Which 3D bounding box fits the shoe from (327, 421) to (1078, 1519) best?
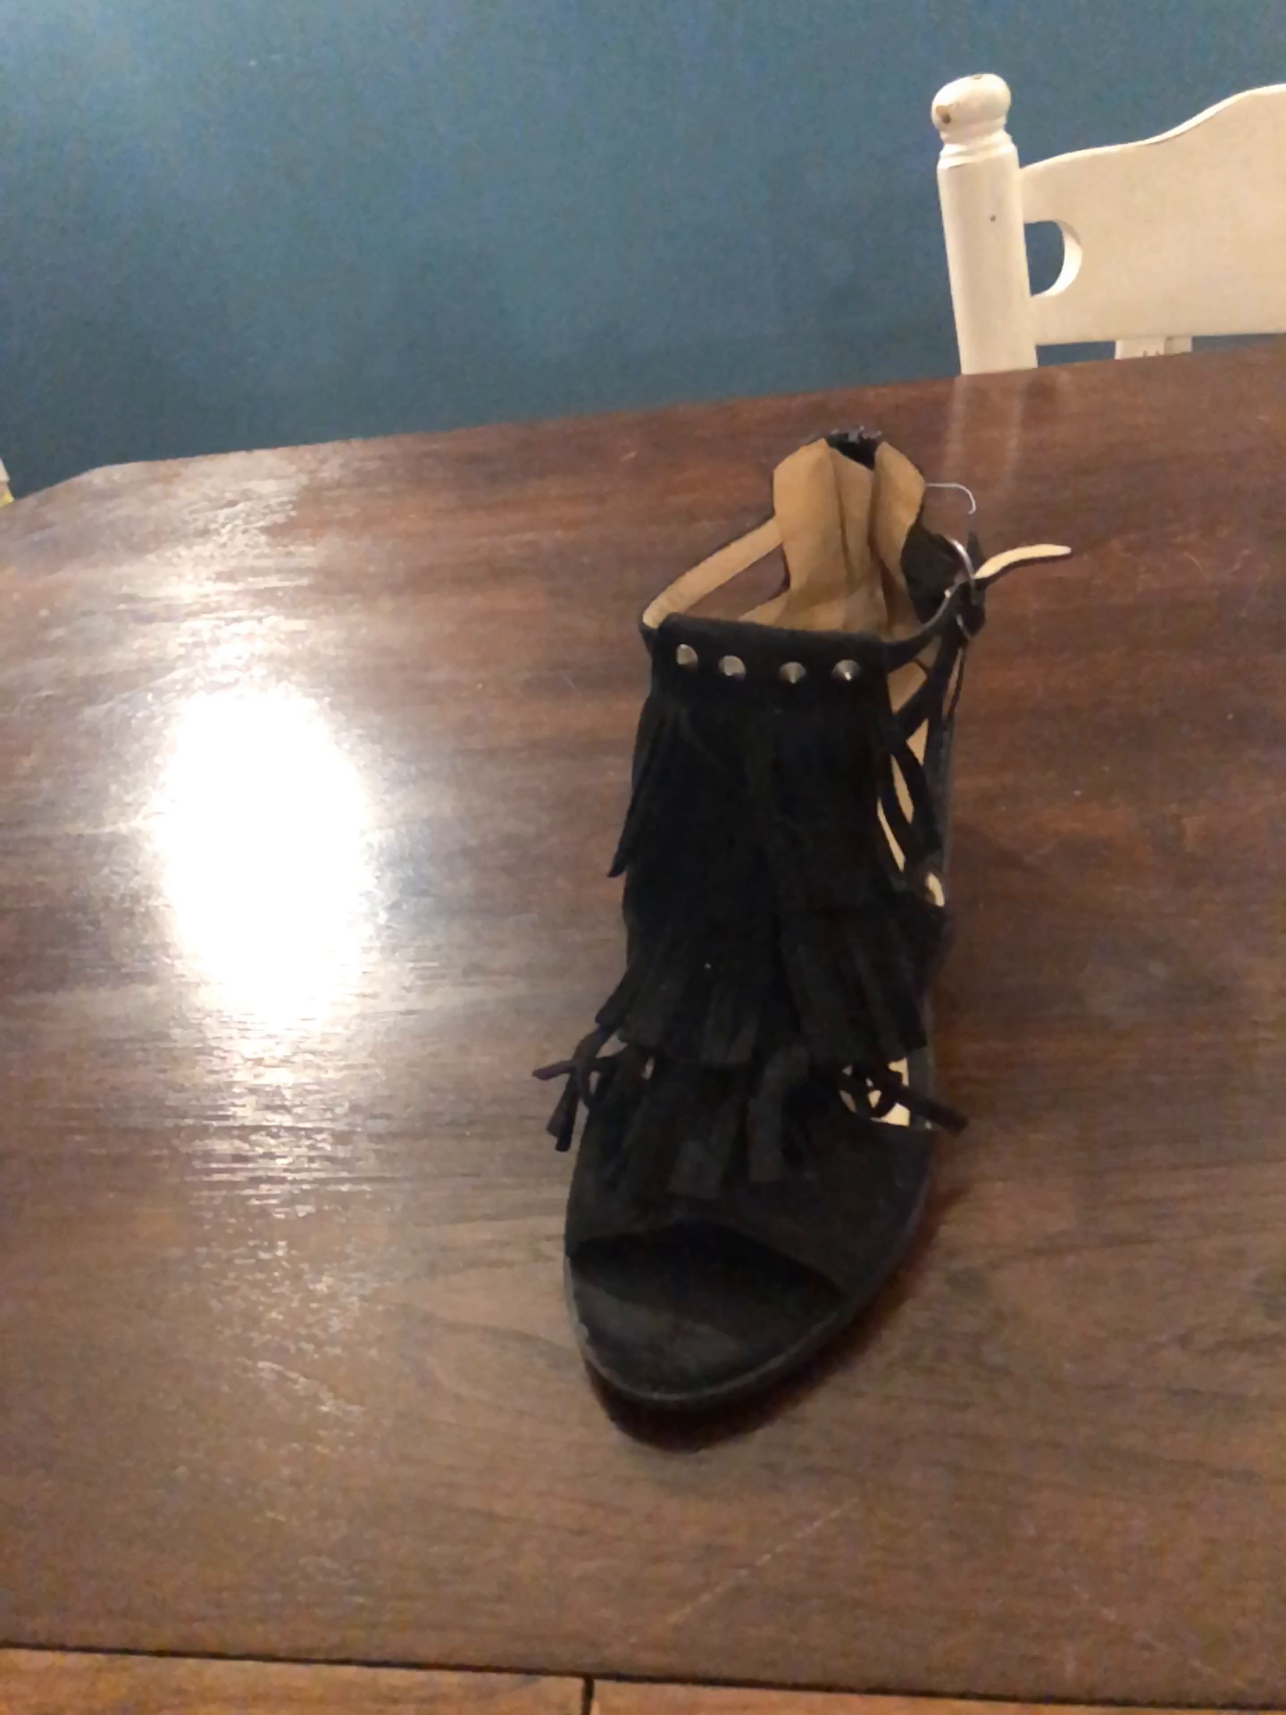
[{"bbox_3d":[0.042,0.008,0.372,0.100,0.149,0.241,7,42,21],"label":"shoe"}]
